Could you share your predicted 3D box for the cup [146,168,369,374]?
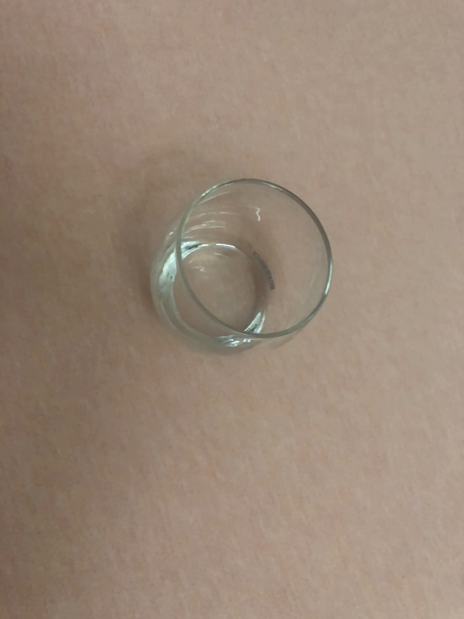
[{"bbox_3d":[0.007,-0.016,0.304,0.090,0.100,0.090,4,77,-18],"label":"cup"}]
